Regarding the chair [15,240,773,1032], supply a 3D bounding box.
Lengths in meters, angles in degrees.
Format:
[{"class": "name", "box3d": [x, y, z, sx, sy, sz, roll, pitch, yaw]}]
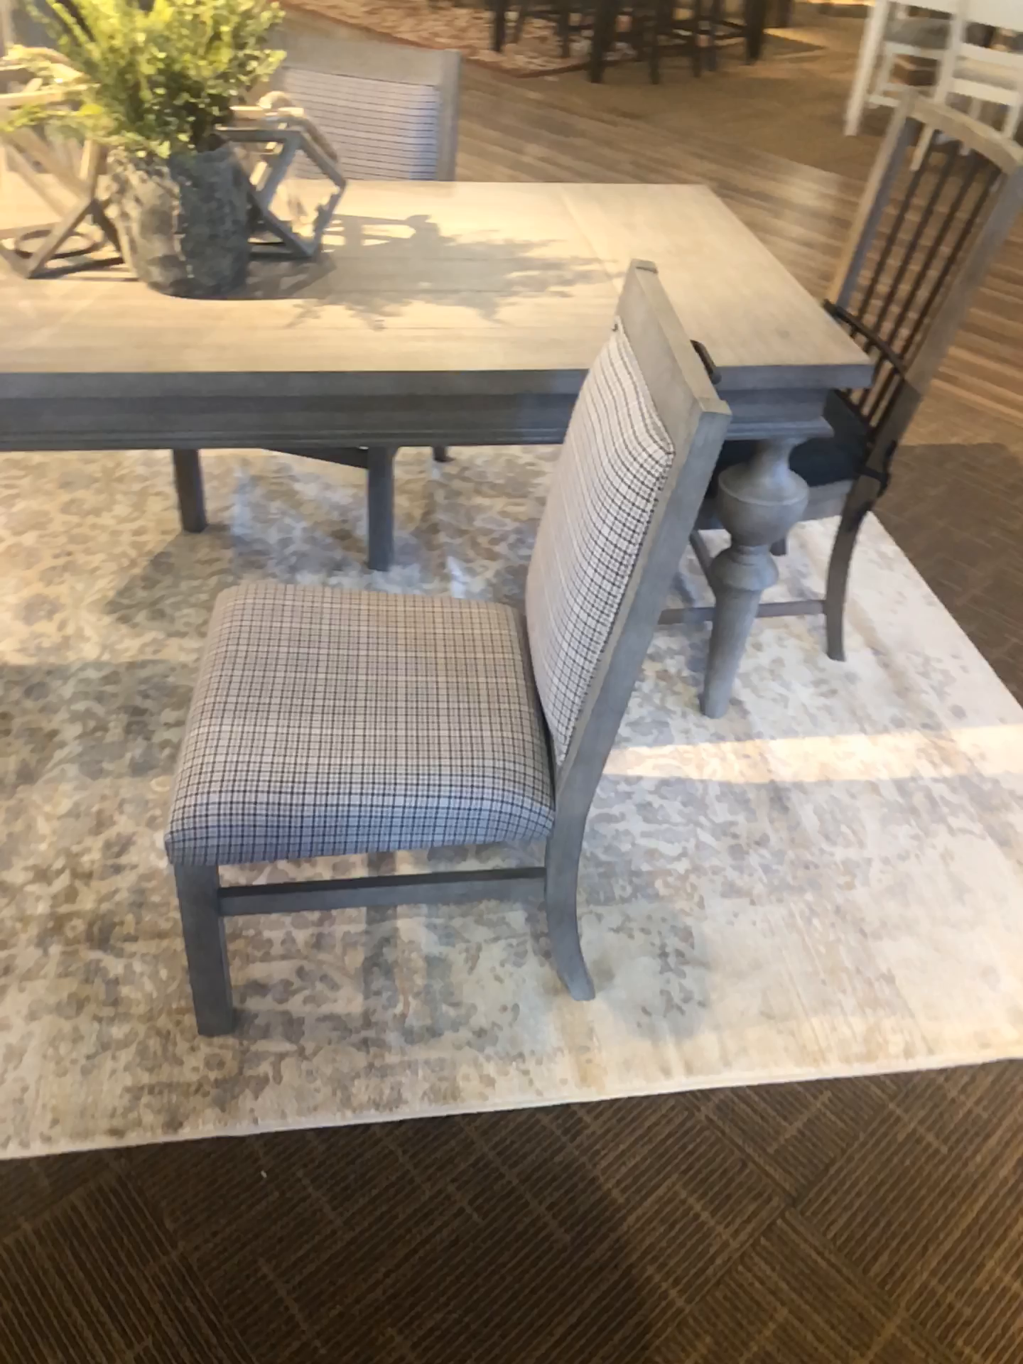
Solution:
[{"class": "chair", "box3d": [-0.134, -0.034, 1.447, 0.660, 0.865, 0.513, 0, 39, -5]}]
